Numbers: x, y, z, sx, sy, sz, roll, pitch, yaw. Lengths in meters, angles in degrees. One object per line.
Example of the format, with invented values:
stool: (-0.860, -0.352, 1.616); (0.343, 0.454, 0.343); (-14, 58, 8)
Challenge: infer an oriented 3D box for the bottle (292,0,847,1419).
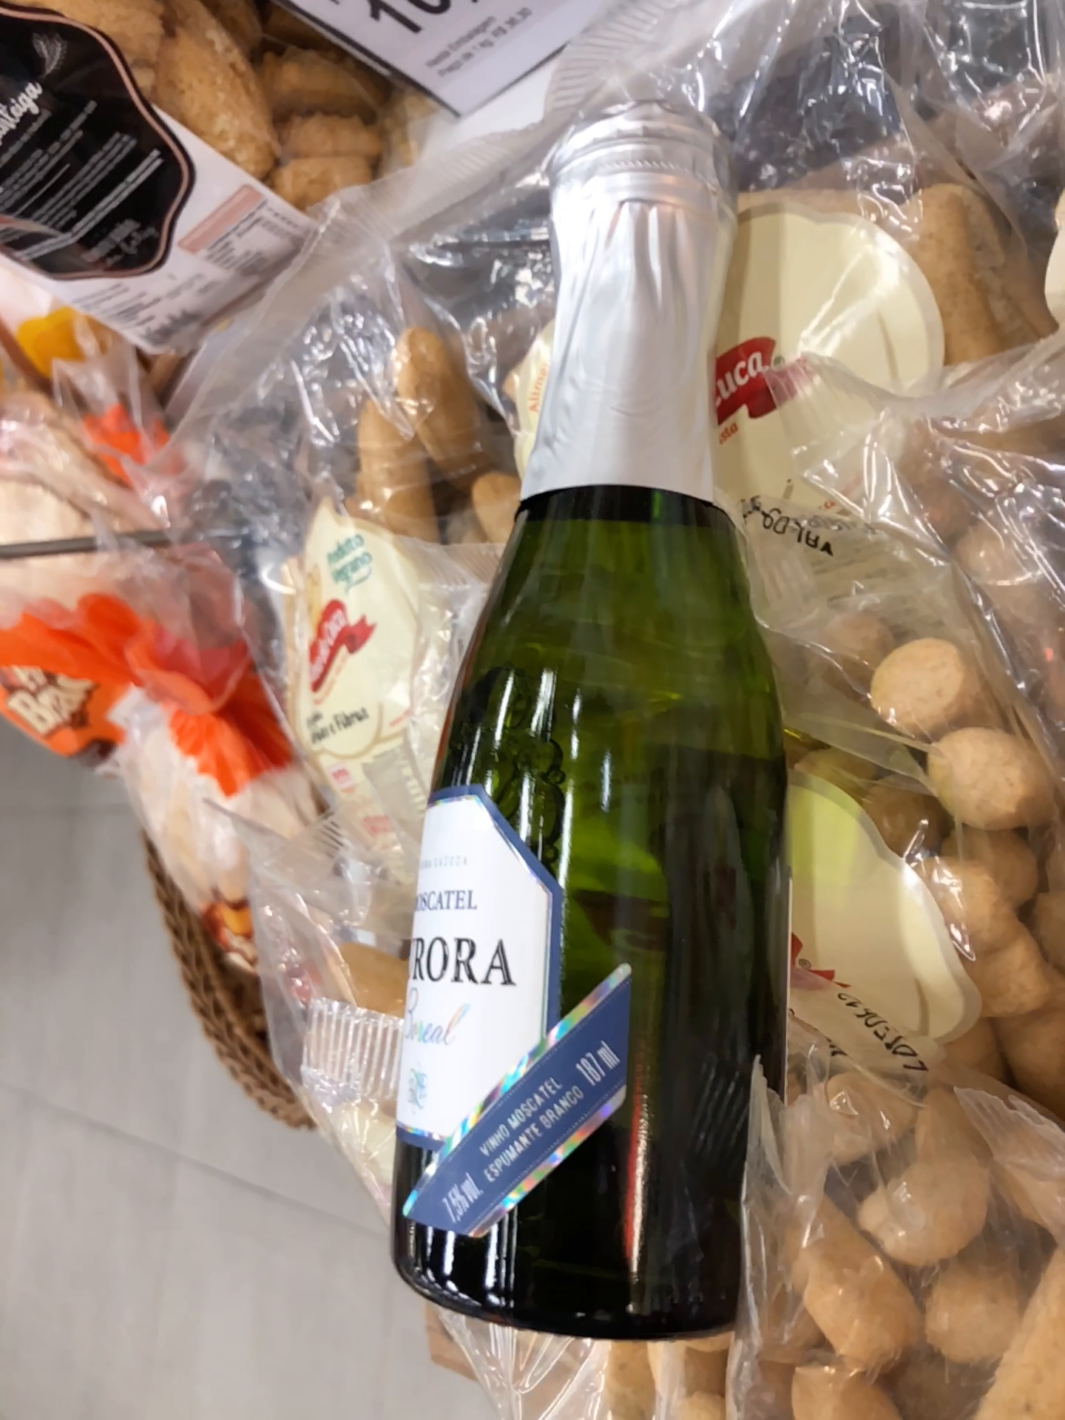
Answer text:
bottle: (0.008, -0.003, 0.182); (0.060, 0.050, 0.200); (-5, 80, 44)
